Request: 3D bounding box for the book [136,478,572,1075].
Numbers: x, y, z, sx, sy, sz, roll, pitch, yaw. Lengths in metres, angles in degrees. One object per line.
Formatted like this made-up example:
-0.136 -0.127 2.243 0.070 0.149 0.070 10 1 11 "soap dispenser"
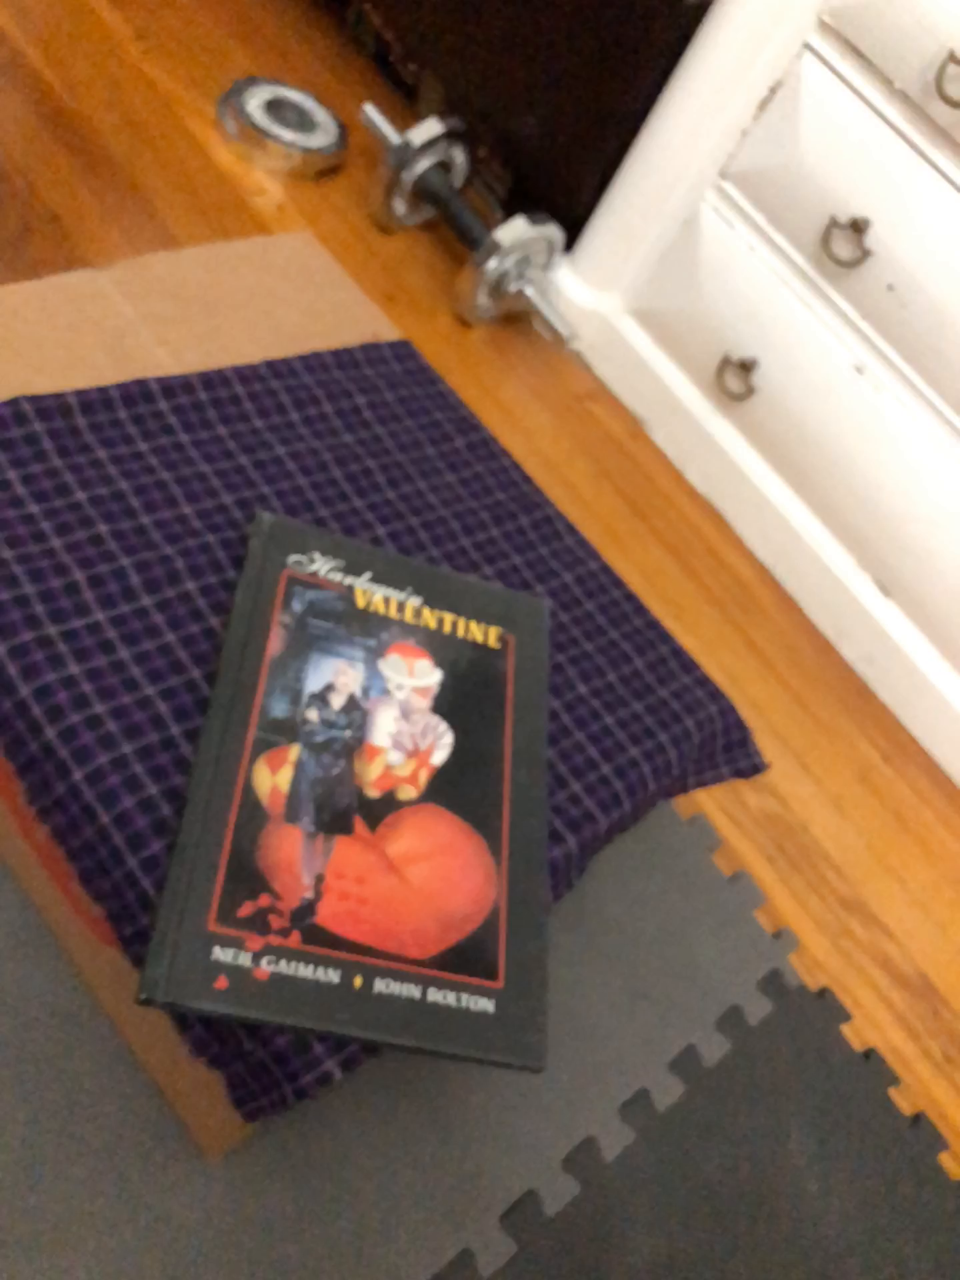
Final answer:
-0.044 0.052 0.524 0.180 0.020 0.281 16 49 -18 "book"
